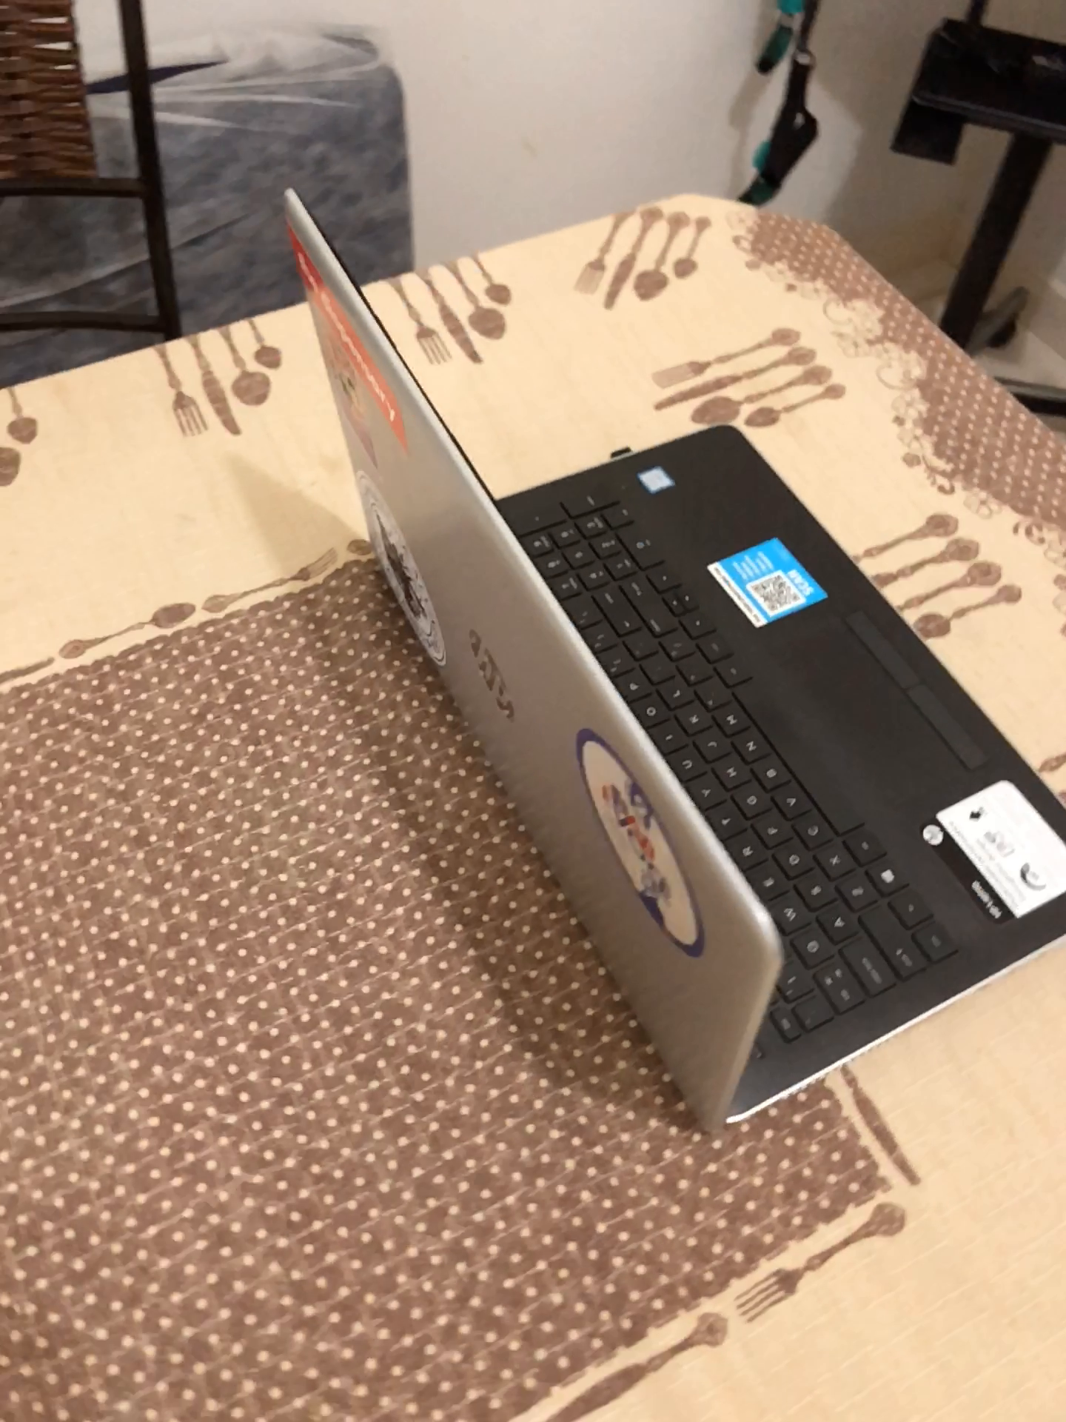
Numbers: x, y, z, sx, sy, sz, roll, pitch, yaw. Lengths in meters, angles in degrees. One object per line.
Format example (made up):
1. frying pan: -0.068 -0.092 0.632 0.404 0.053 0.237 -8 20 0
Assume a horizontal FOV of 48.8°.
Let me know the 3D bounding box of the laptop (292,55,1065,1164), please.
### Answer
1. laptop: 0.096 -0.061 0.519 0.268 0.226 0.361 -22 59 -17
